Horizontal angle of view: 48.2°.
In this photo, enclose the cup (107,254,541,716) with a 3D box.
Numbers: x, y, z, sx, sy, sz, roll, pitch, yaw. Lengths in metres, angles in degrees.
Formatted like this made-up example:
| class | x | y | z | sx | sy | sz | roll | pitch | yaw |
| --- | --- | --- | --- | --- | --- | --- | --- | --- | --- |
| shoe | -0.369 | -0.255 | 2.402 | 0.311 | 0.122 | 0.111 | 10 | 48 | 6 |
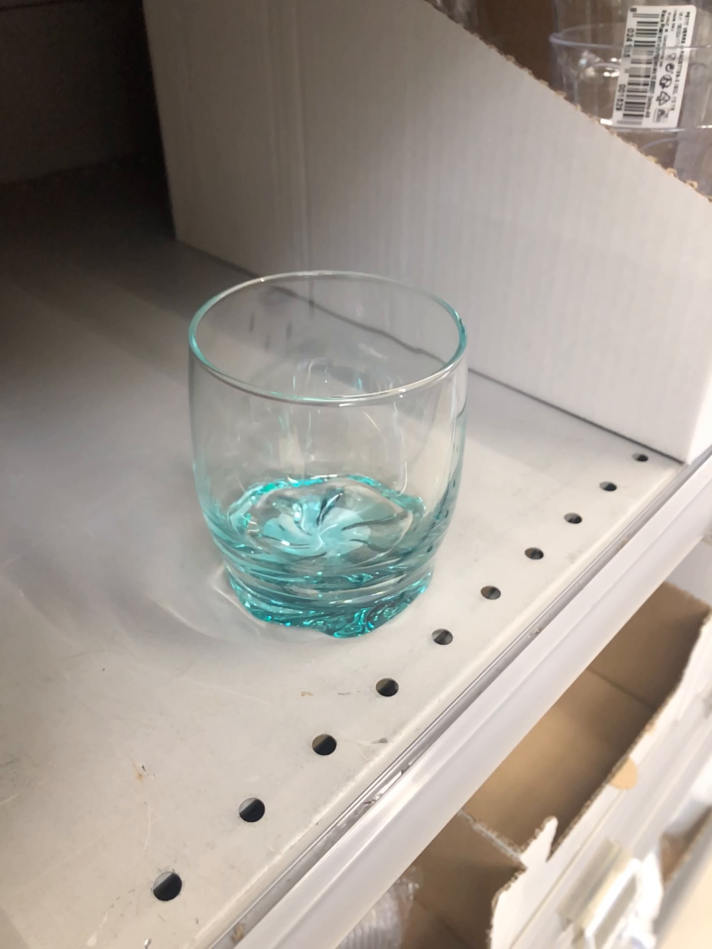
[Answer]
| class | x | y | z | sx | sy | sz | roll | pitch | yaw |
| --- | --- | --- | --- | --- | --- | --- | --- | --- | --- |
| cup | -0.009 | -0.003 | 0.228 | 0.083 | 0.082 | 0.074 | -27 | 45 | -33 |
